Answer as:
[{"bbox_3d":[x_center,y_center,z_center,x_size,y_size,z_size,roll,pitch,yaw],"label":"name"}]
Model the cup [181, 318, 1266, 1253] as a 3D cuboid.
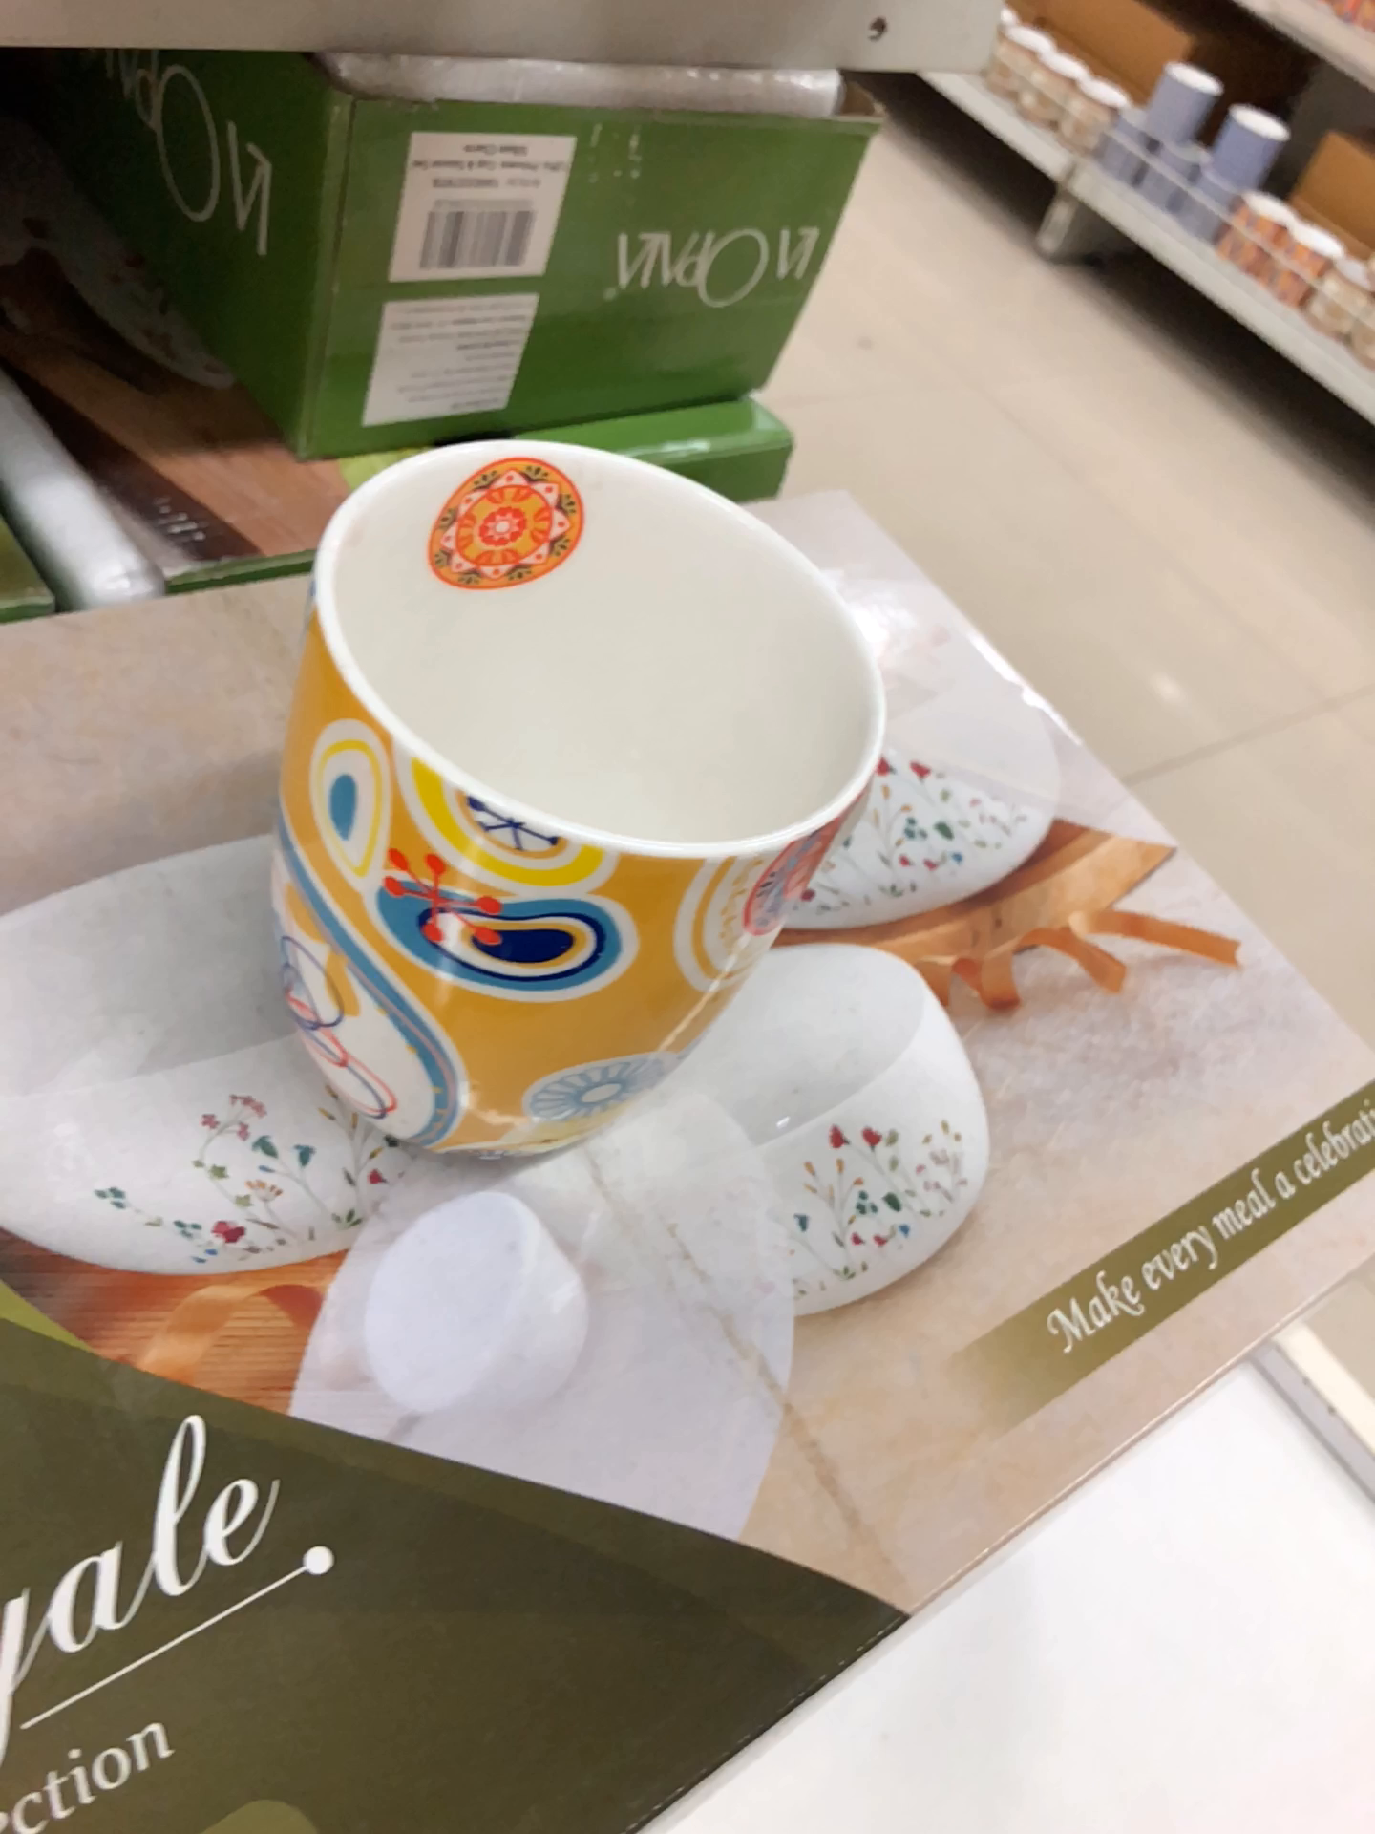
[{"bbox_3d":[-0.003,-0.024,0.239,0.121,0.089,0.090,-9,54,-30],"label":"cup"}]
